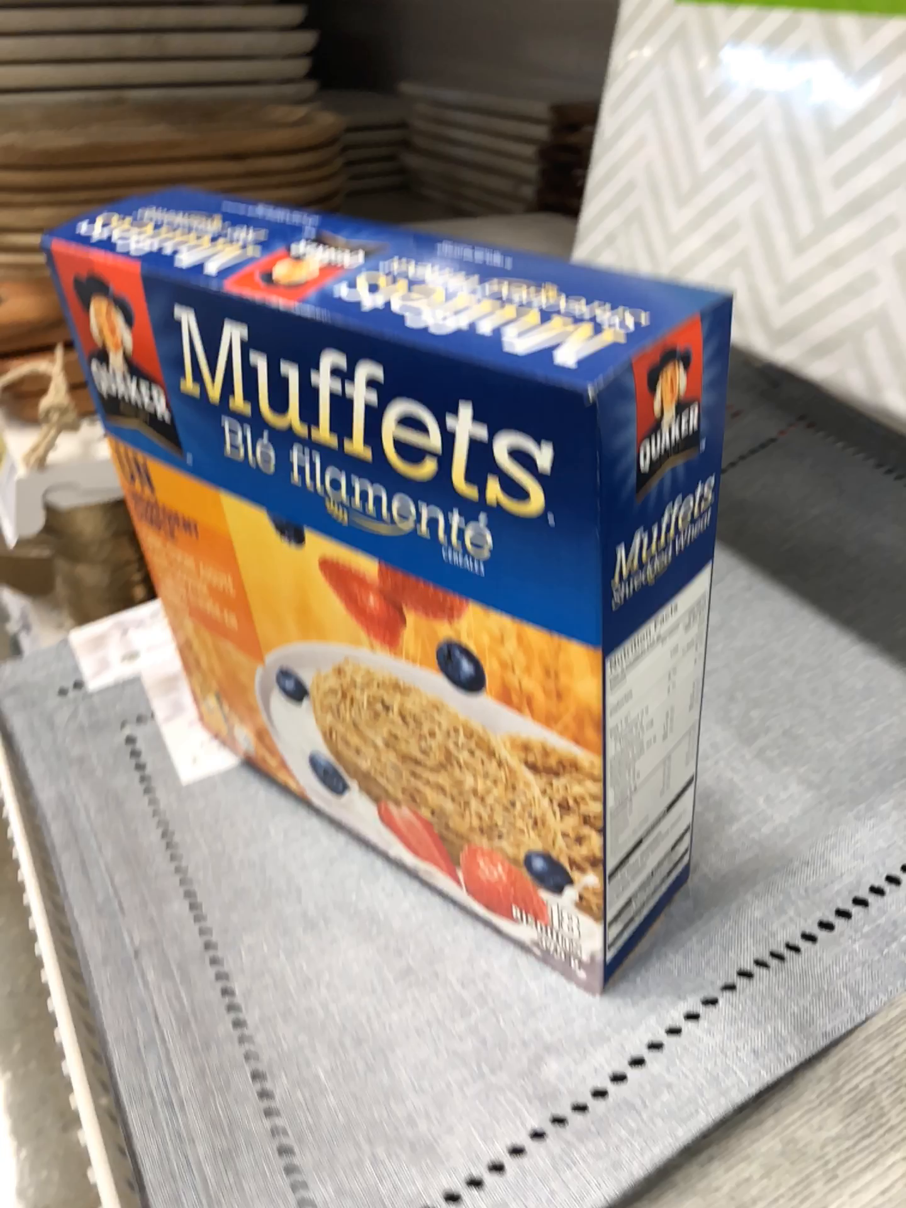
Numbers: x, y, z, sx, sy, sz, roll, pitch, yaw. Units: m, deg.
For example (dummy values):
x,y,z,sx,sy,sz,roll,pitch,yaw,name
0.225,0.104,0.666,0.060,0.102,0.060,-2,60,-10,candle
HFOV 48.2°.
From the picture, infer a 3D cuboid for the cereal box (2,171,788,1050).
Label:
x,y,z,sx,sy,sz,roll,pitch,yaw,name
-0.028,-0.007,0.347,0.251,0.229,0.060,26,47,36,cereal box
